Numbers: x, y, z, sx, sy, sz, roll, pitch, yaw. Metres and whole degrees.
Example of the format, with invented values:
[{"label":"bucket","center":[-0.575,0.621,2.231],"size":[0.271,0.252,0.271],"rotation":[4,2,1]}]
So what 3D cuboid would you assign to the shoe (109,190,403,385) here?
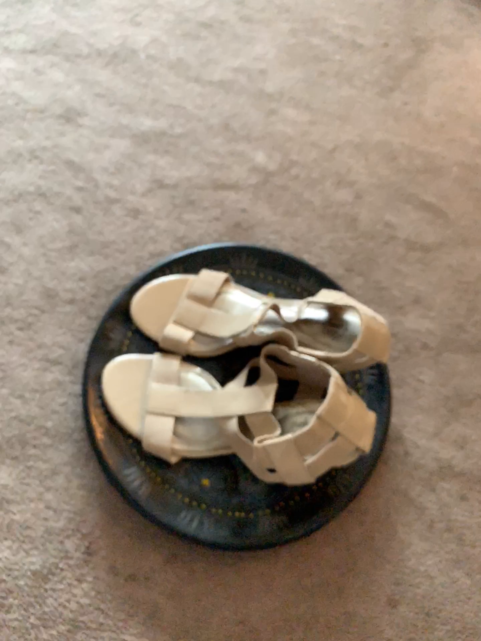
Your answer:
[{"label":"shoe","center":[0.012,-0.021,0.434],"size":[0.220,0.100,0.090],"rotation":[12,67,-6]}]

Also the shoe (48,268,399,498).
[{"label":"shoe","center":[-0.010,0.055,0.385],"size":[0.220,0.100,0.100],"rotation":[15,67,-4]}]
